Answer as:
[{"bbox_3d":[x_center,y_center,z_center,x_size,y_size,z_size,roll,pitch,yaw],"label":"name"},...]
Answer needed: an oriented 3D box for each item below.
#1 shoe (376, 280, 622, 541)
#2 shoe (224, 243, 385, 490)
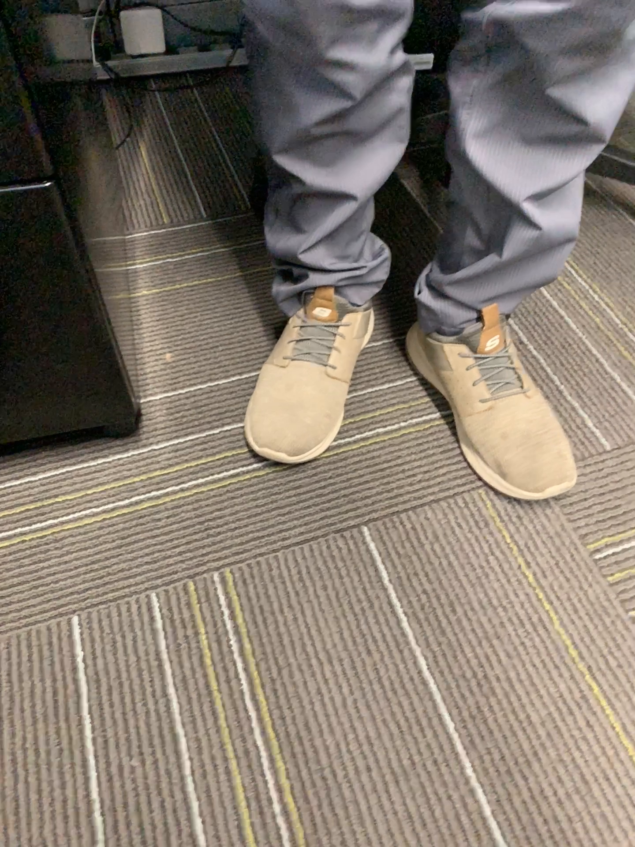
[{"bbox_3d":[0.197,-0.029,0.784,0.126,0.098,0.303,-18,53,-15],"label":"shoe"},{"bbox_3d":[-0.005,-0.081,0.789,0.107,0.098,0.303,12,52,9],"label":"shoe"}]
